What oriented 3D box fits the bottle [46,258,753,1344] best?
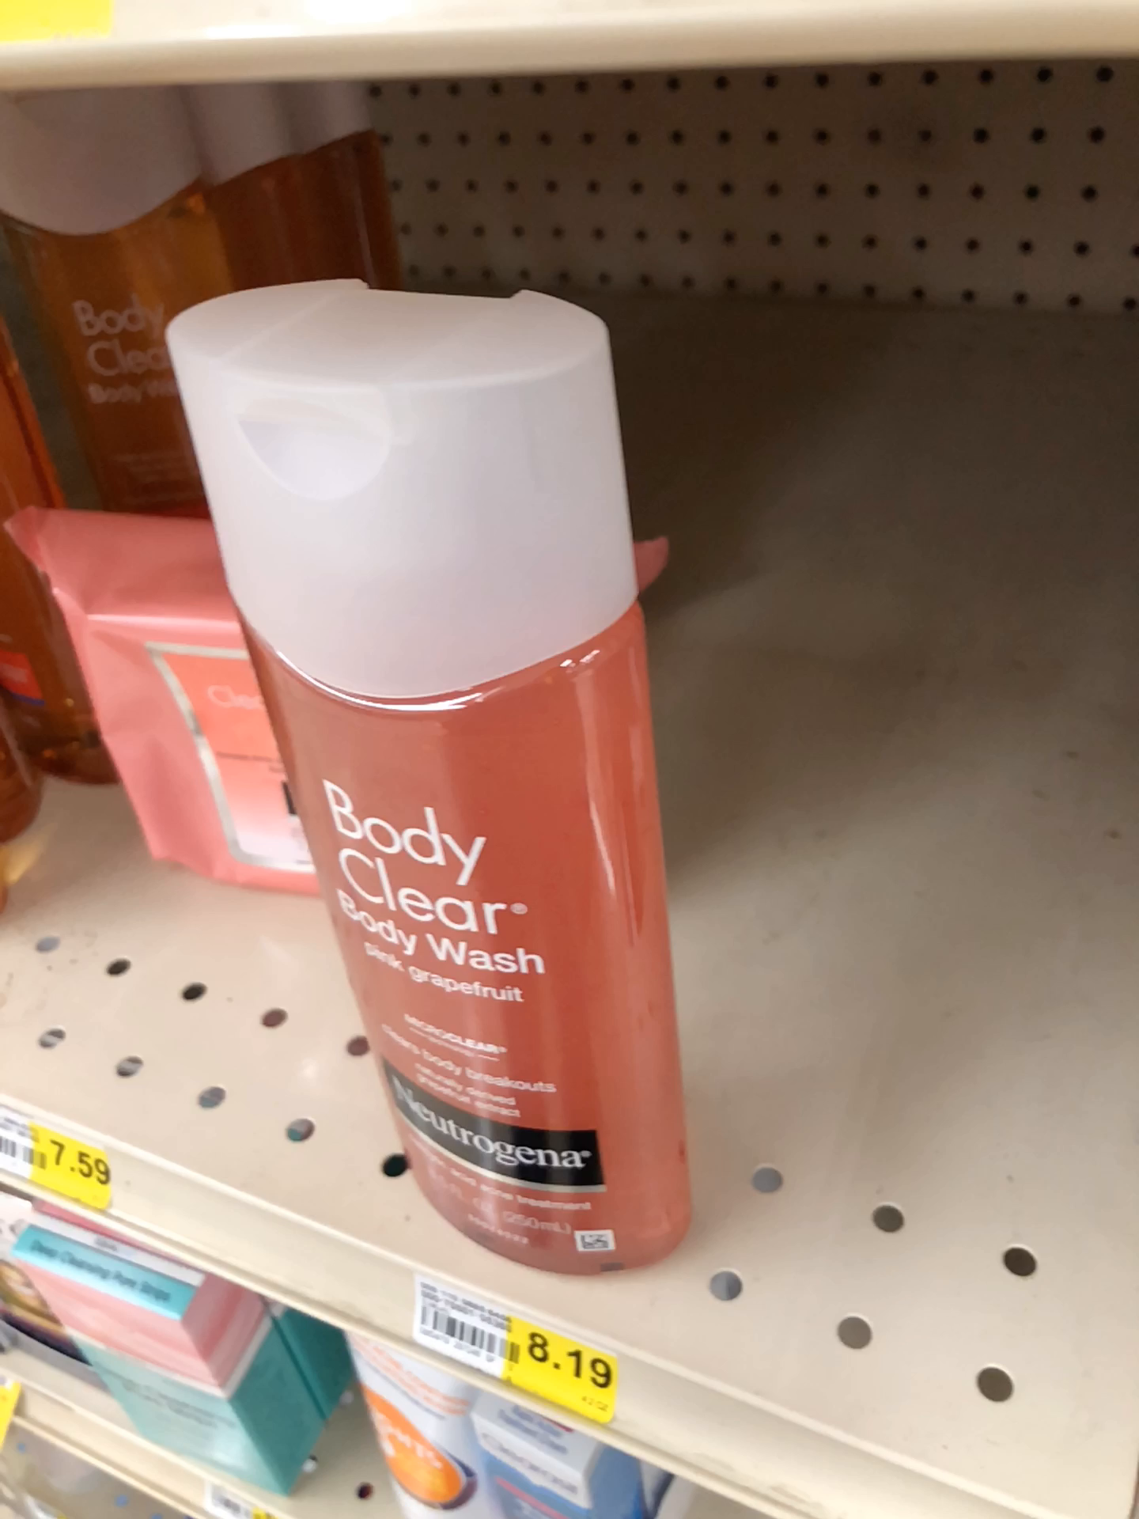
[{"bbox_3d":[-0.012,0.022,0.206,0.070,0.190,0.030,13,45,25],"label":"bottle"}]
